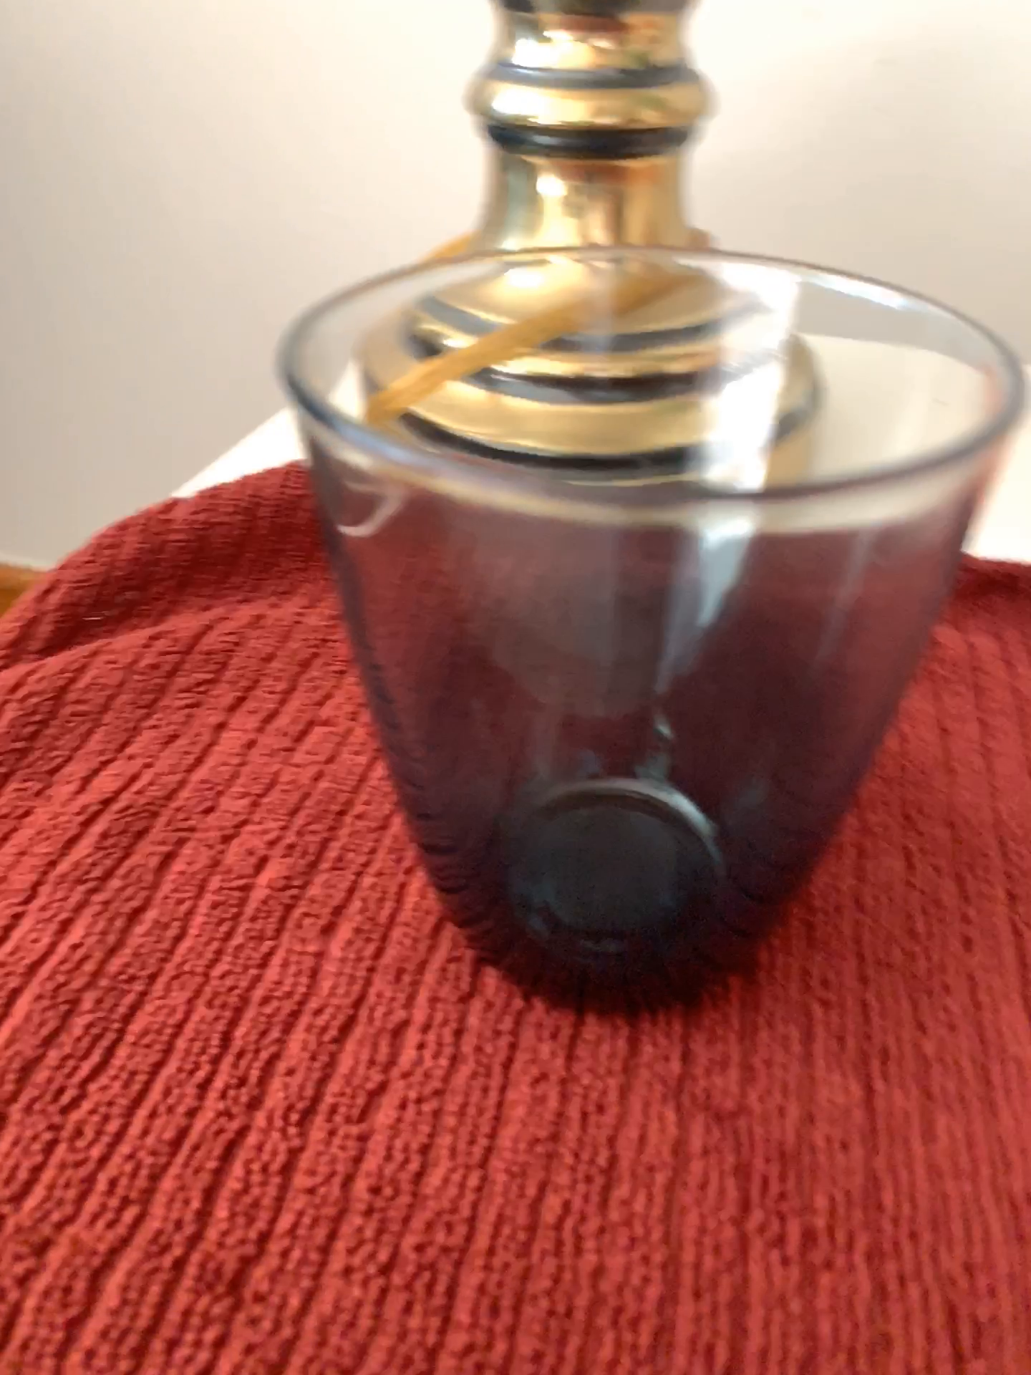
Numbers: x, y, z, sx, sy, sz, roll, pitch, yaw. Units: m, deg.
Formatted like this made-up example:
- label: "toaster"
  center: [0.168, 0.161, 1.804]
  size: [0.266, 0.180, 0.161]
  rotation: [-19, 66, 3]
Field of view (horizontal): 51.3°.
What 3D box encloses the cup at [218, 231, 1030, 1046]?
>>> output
- label: "cup"
  center: [0.014, -0.014, 0.143]
  size: [0.086, 0.070, 0.084]
  rotation: [1, 35, -1]
